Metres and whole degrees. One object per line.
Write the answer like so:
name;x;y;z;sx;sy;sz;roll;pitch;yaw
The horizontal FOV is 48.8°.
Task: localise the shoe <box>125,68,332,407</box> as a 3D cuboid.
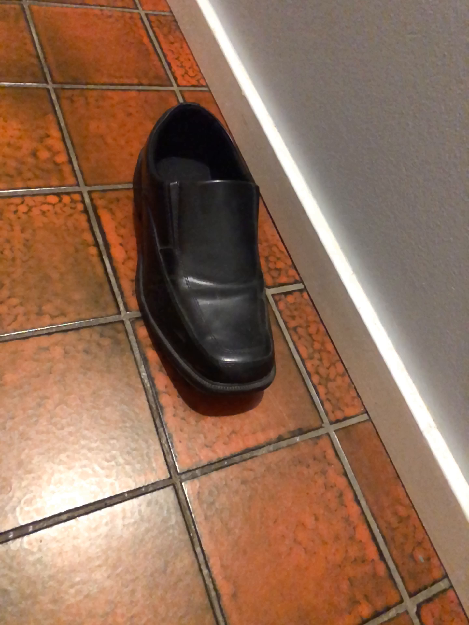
shoe;-0.023;-0.077;0.481;0.120;0.100;0.300;0;60;-20
